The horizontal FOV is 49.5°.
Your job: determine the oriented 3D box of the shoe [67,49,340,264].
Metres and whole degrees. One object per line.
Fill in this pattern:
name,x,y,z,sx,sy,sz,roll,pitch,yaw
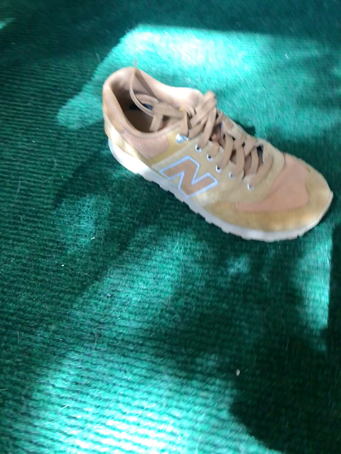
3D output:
shoe,0.041,-0.081,0.393,0.260,0.100,0.111,24,64,17
